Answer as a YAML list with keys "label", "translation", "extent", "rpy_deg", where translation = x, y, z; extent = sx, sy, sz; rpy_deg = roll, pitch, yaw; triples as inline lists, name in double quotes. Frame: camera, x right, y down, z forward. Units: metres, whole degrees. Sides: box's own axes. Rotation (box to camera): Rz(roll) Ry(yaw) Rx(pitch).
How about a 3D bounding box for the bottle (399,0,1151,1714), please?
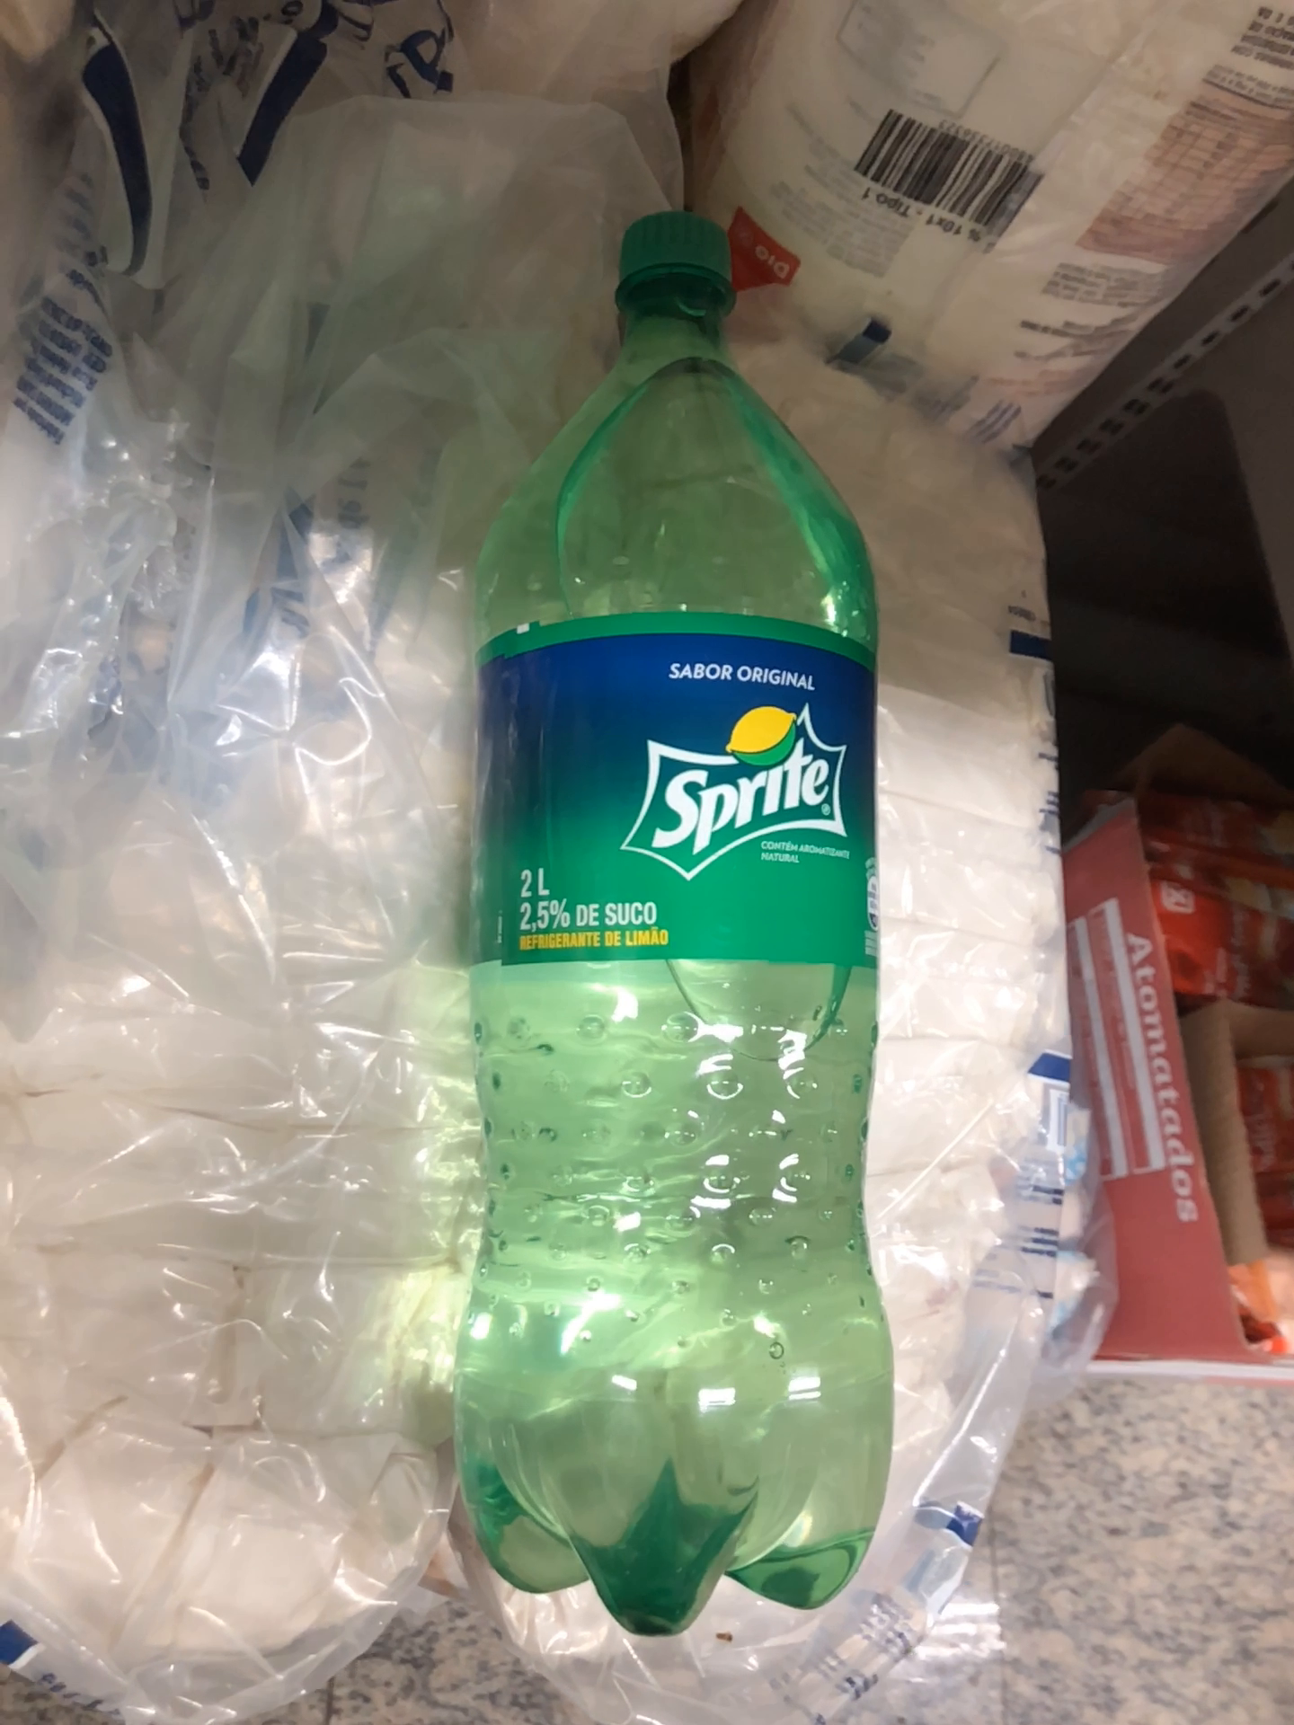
- label: "bottle"
  translation: [0.011, -0.027, 0.353]
  extent: [0.110, 0.110, 0.381]
  rpy_deg: [3, 72, -24]
